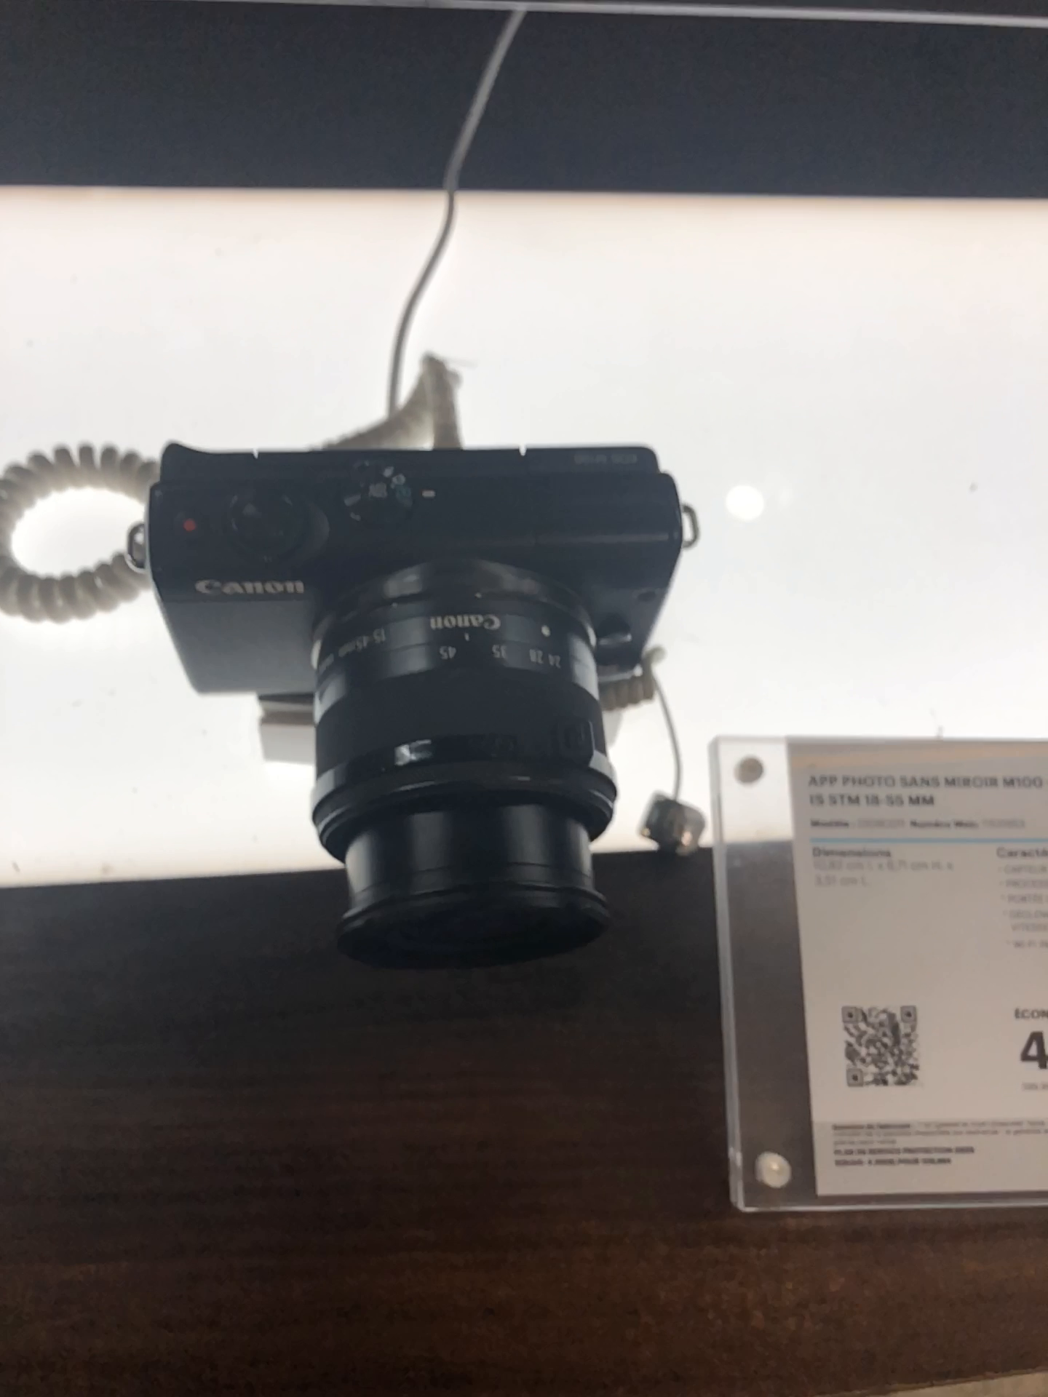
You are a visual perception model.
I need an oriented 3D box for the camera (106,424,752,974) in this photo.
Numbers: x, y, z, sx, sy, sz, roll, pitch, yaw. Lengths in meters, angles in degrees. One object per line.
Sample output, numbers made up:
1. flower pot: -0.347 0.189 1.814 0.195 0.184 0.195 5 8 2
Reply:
1. camera: -0.021 0.001 0.259 0.112 0.071 0.094 -2 60 -6
